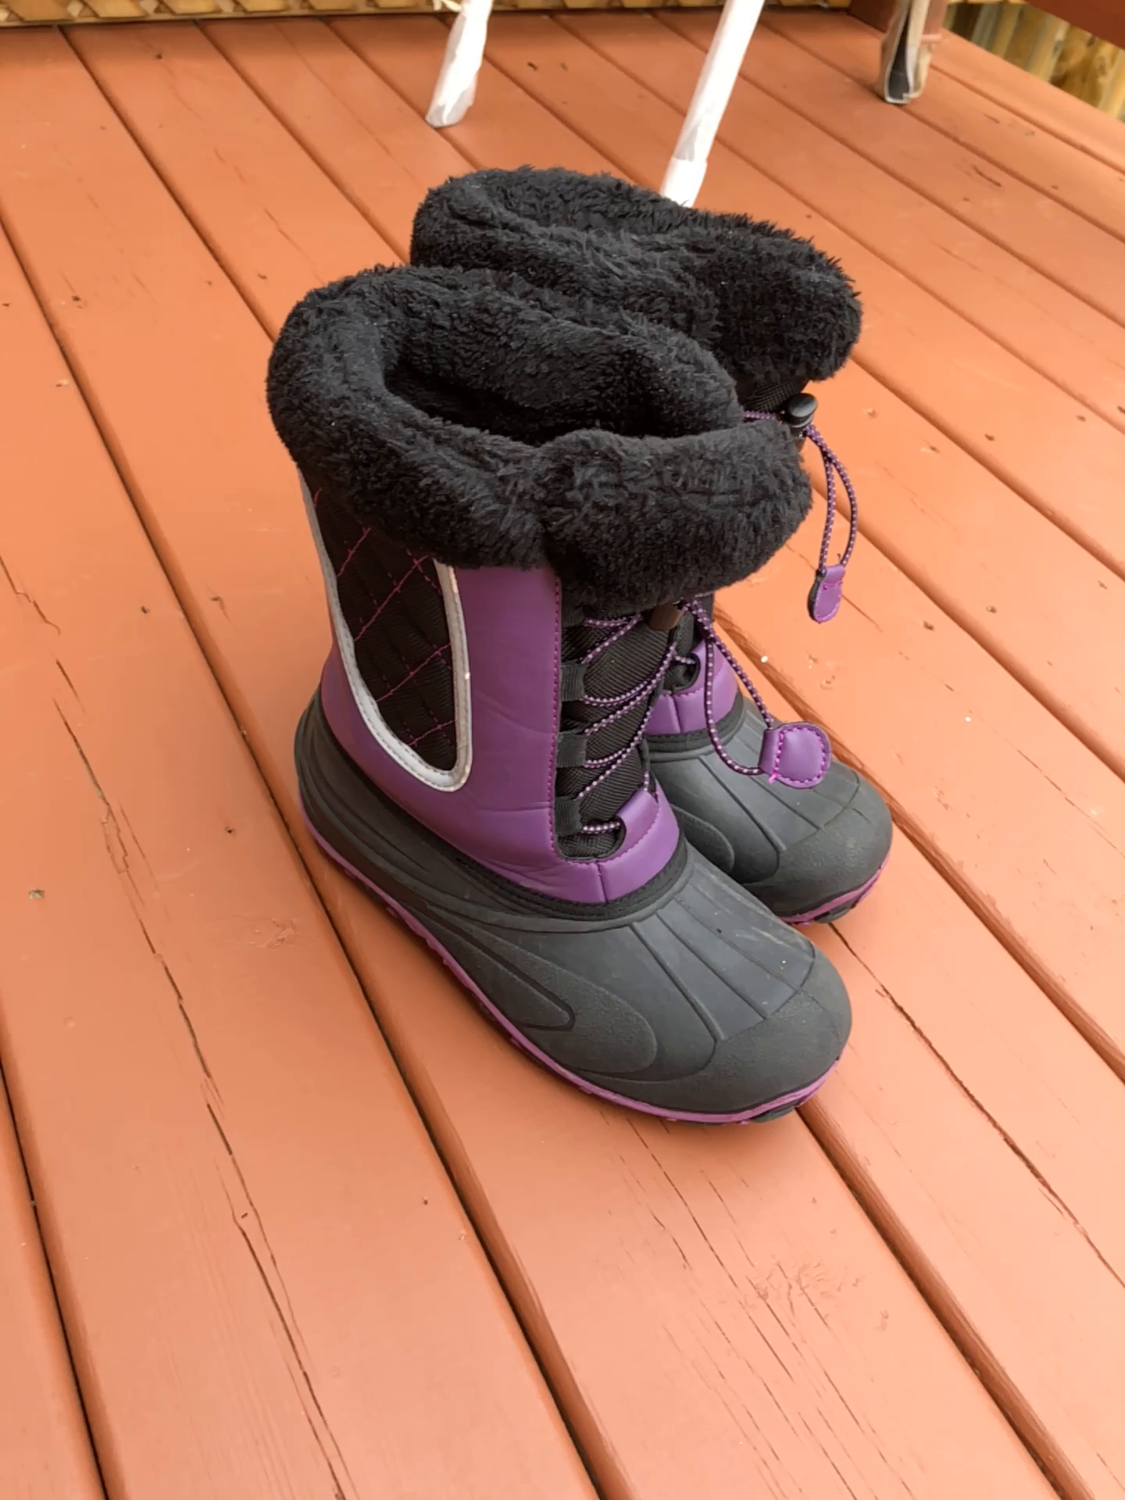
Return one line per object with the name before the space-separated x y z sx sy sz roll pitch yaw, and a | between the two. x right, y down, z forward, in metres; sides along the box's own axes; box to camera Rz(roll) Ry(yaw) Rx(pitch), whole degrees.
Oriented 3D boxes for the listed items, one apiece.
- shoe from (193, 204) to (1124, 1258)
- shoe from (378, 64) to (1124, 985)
shoe | 0.007 0.000 0.448 0.240 0.279 0.120 34 50 22
shoe | 0.057 -0.086 0.516 0.240 0.279 0.120 30 48 20
